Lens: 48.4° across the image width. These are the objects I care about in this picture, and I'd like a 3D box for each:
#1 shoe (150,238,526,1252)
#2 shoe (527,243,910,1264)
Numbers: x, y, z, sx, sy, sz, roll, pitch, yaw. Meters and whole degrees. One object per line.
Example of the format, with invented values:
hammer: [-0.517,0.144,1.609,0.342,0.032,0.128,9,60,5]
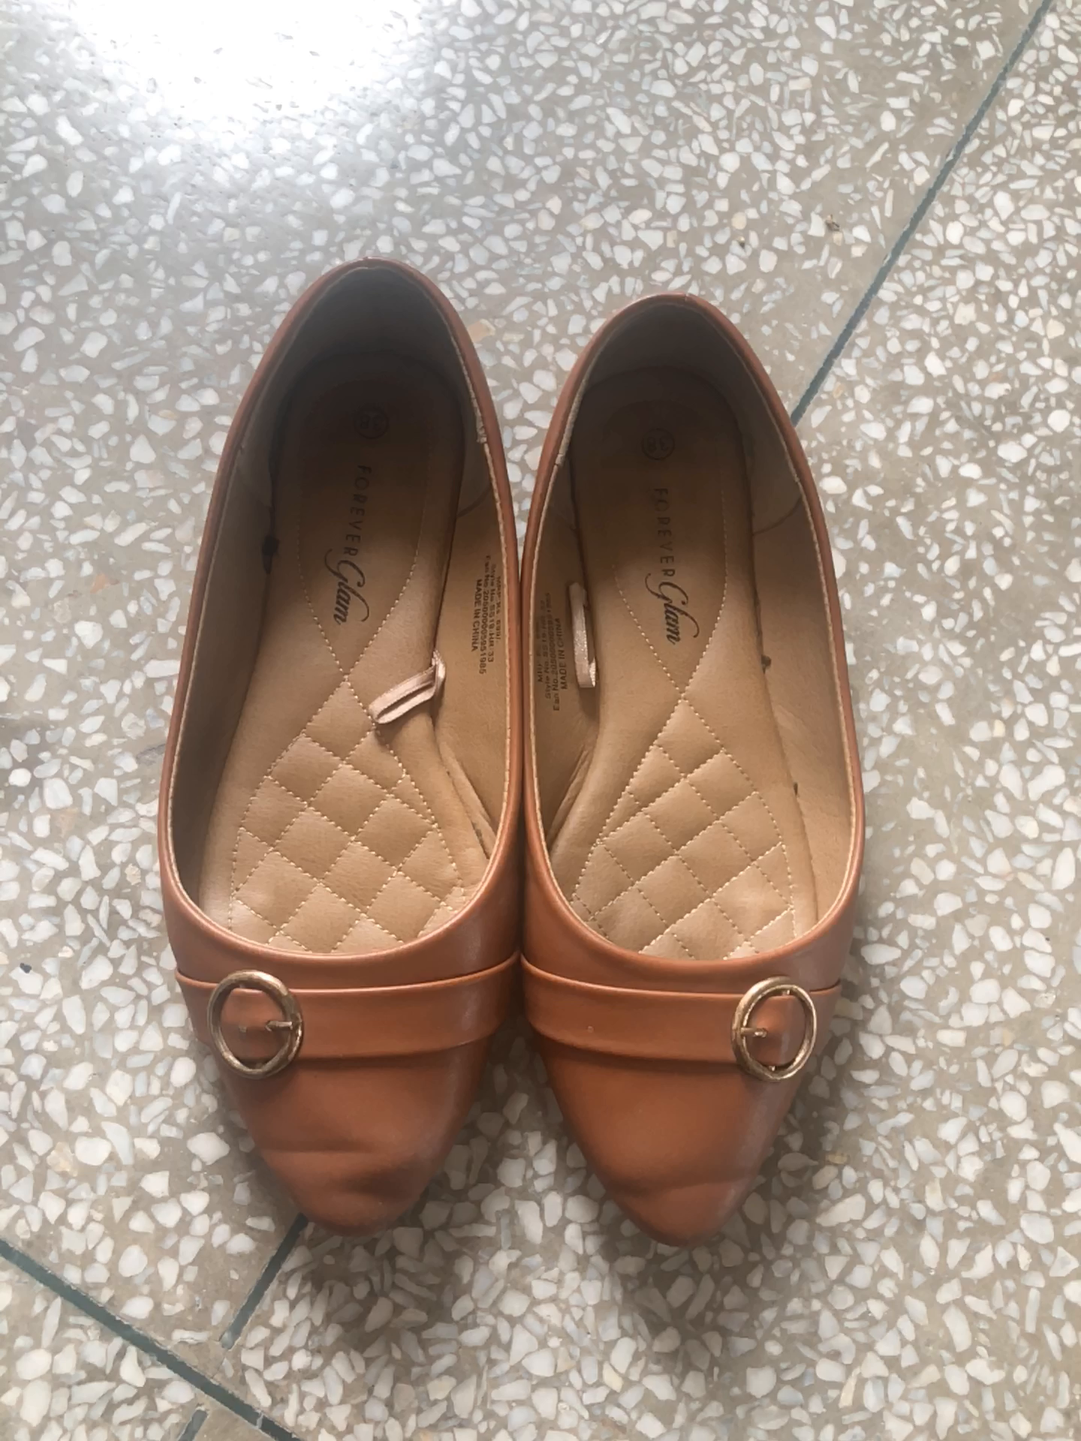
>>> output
shoe: [-0.051,0.005,0.323,0.090,0.050,0.250,-1,88,2]
shoe: [0.043,0.007,0.321,0.090,0.050,0.250,-1,88,2]
